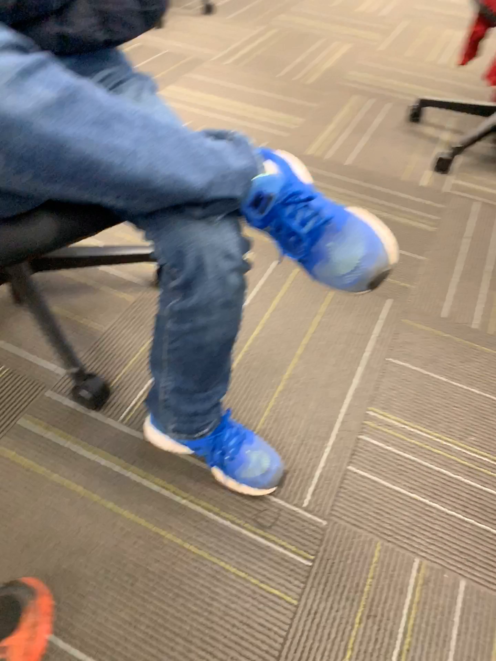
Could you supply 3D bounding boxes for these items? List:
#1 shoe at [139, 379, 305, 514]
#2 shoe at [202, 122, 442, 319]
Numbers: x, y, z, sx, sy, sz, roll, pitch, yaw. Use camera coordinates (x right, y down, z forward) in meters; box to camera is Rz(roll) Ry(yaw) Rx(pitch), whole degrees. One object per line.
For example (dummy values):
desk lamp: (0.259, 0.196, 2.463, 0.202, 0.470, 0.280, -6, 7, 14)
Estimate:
shoe: (-0.050, 0.209, 0.934, 0.284, 0.086, 0.101, 23, 48, 17)
shoe: (0.079, -0.145, 0.643, 0.103, 0.117, 0.276, -7, 41, -46)
